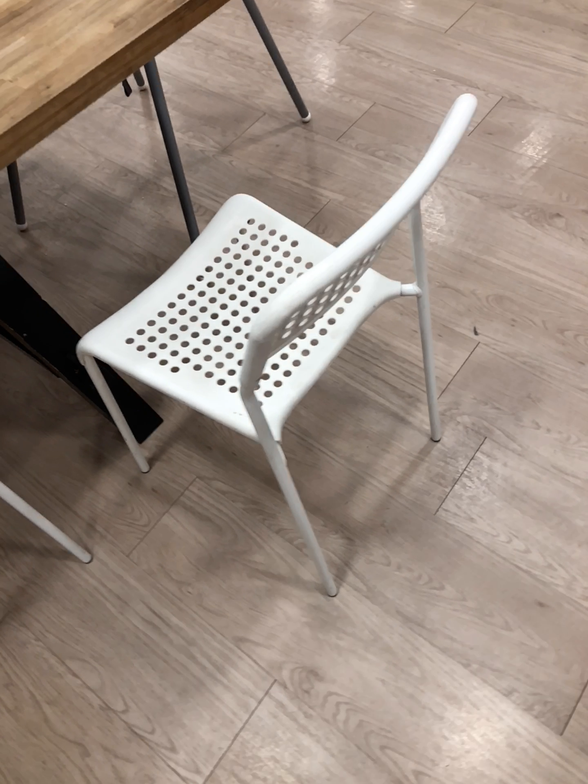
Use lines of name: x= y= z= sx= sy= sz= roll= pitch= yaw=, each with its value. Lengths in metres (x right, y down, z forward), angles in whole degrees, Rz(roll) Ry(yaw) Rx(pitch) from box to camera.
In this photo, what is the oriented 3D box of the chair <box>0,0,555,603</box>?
chair: x=-0.019 y=-0.097 z=0.921 sx=0.451 sy=0.696 sz=0.421 roll=31 pitch=66 yaw=23
